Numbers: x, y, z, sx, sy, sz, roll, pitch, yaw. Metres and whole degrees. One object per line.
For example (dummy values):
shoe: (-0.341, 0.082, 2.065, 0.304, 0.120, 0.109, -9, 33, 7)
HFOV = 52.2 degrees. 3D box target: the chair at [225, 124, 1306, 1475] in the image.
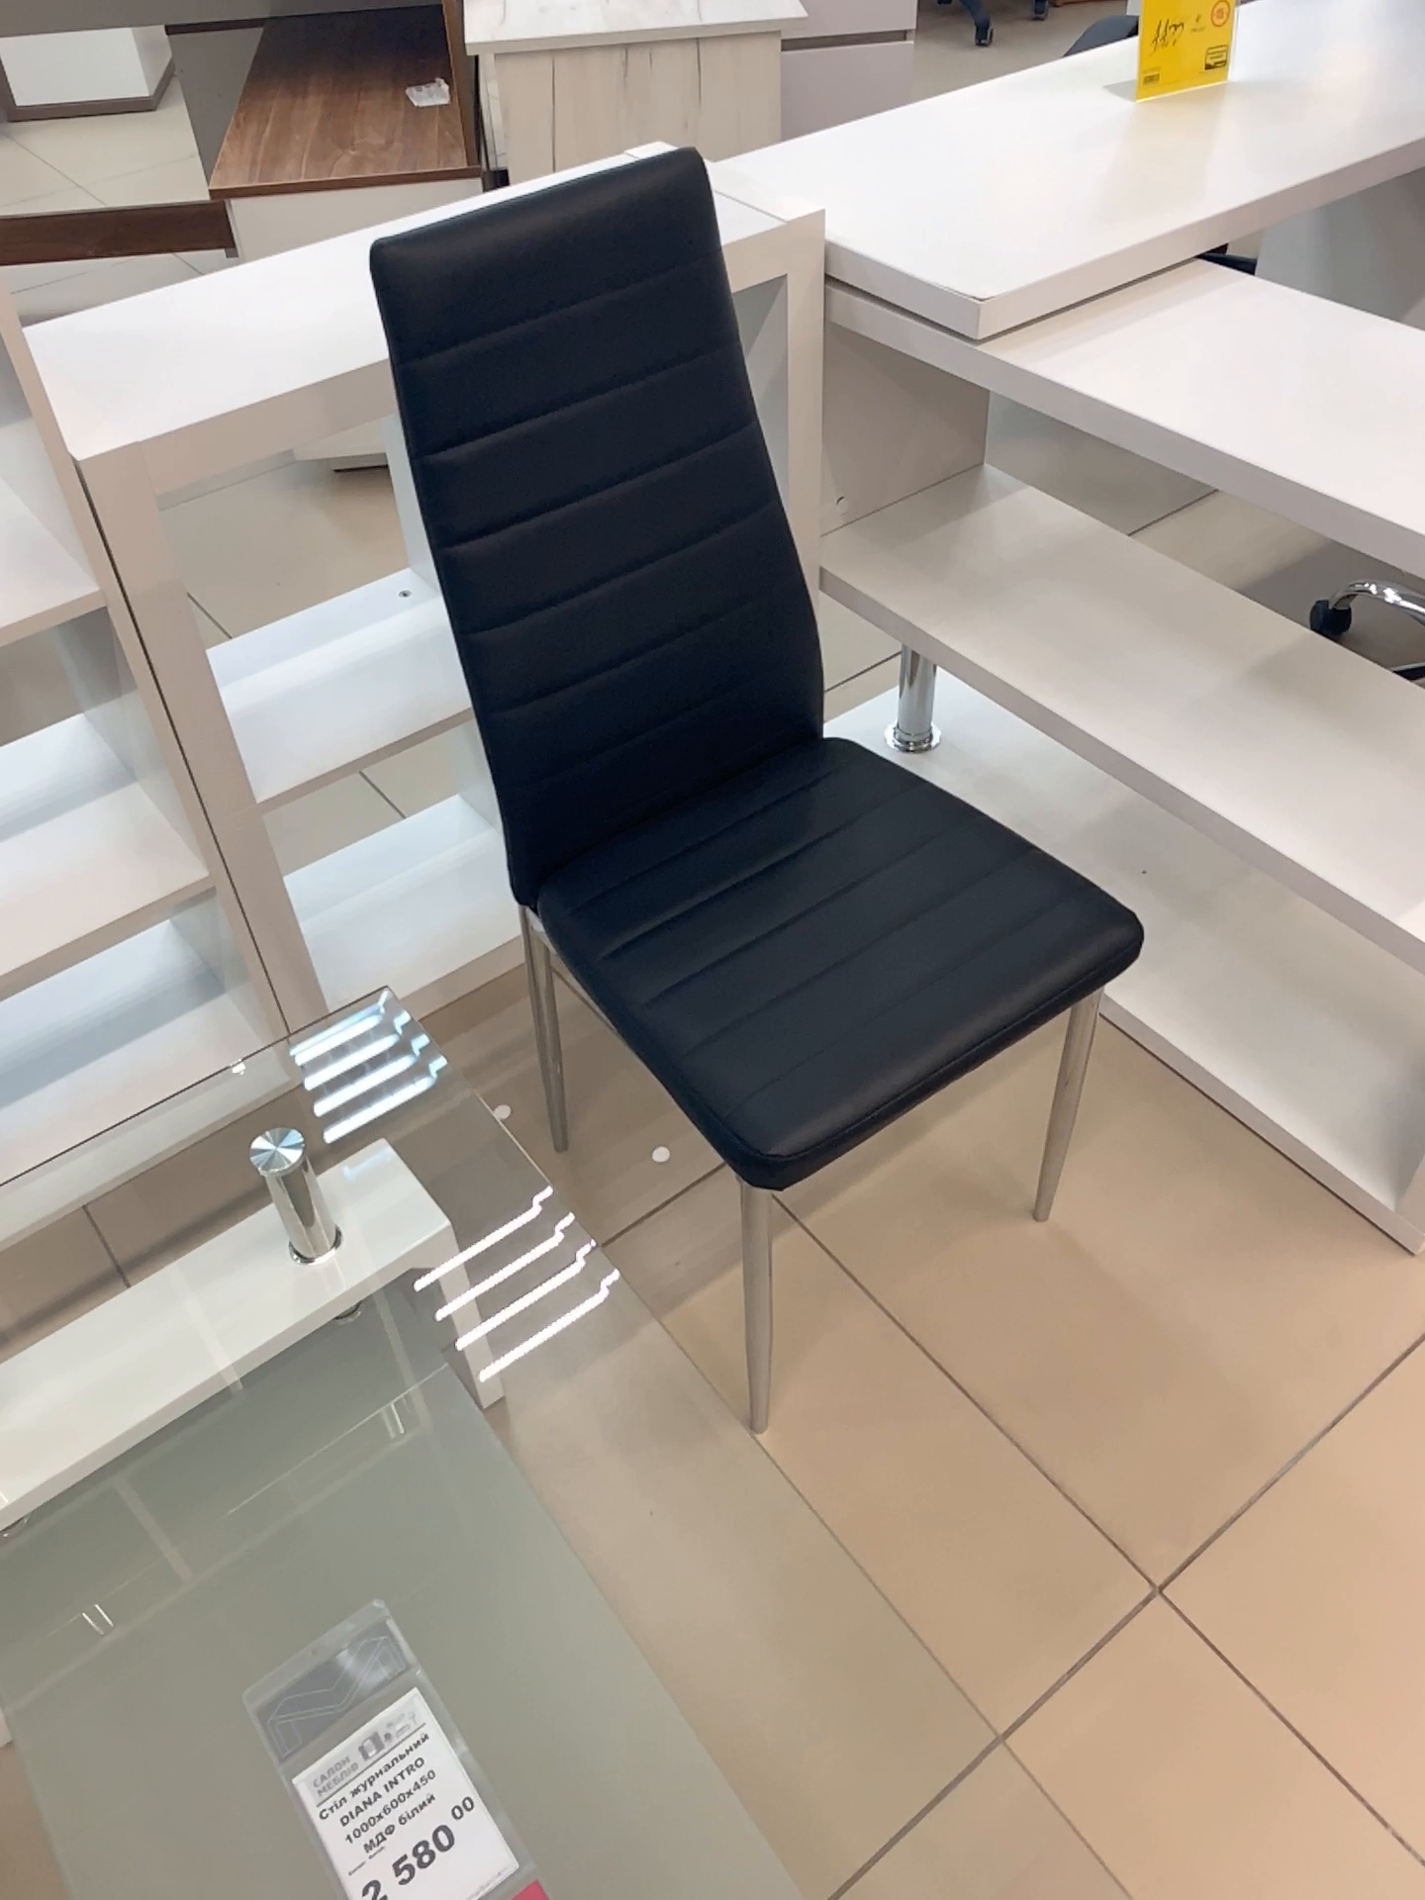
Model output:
chair: (0.025, -0.107, 1.279, 0.440, 0.916, 0.602, -28, 49, -22)
